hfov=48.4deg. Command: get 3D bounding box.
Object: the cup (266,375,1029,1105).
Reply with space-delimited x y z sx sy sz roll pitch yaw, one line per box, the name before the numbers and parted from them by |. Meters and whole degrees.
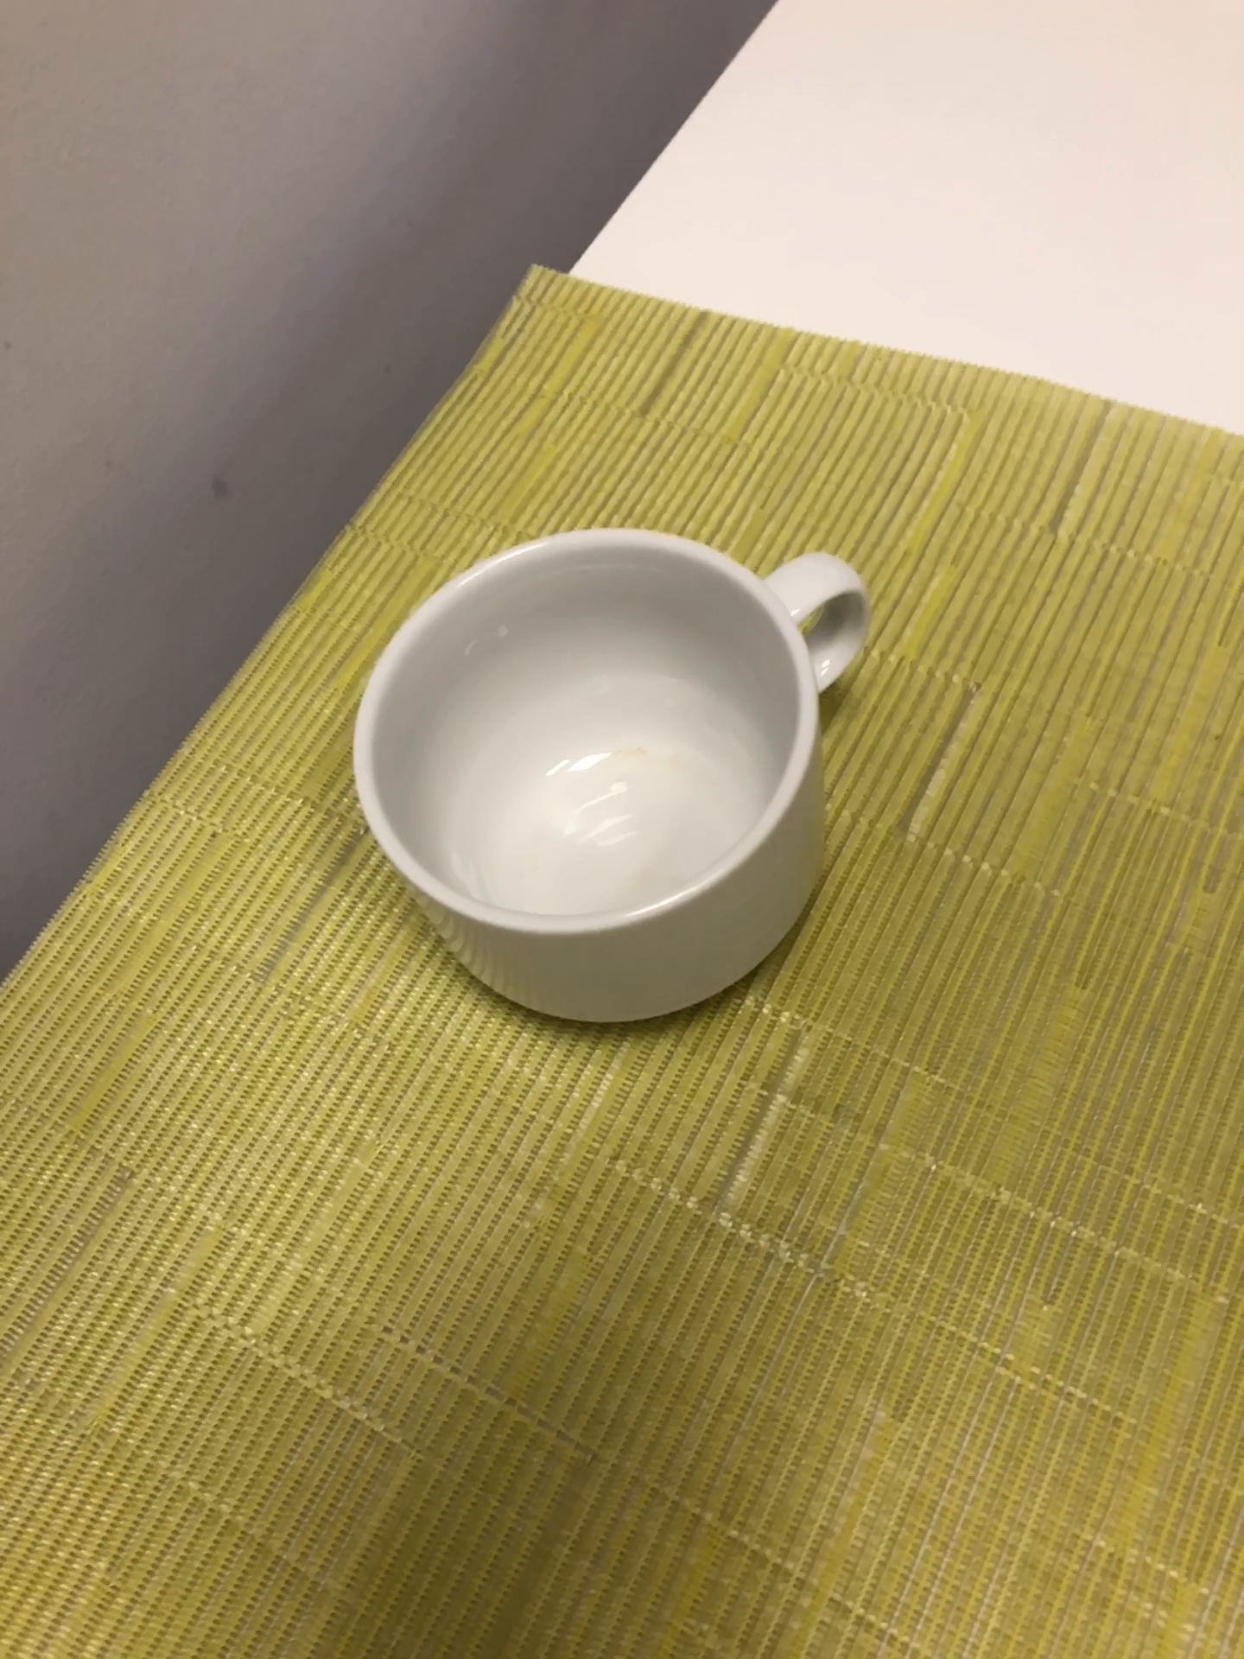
cup | 0.005 -0.018 0.269 0.110 0.057 0.086 -27 59 -4
